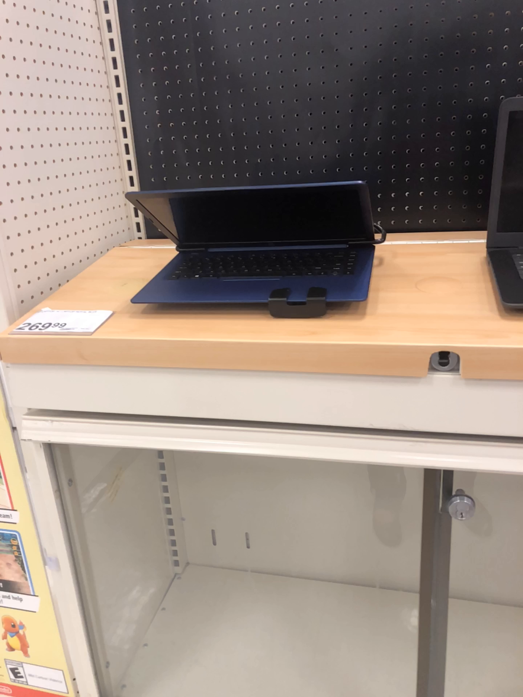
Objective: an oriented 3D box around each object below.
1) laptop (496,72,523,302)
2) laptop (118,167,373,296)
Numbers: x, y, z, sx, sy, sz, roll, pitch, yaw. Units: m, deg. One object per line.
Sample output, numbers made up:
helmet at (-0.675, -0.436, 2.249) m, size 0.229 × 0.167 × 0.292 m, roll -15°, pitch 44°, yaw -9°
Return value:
laptop at (0.467, -0.197, 0.686) m, size 0.330 × 0.206 × 0.224 m, roll 2°, pitch 24°, yaw 17°
laptop at (-0.009, -0.171, 0.821) m, size 0.320 × 0.111 × 0.202 m, roll 1°, pitch 27°, yaw 15°
